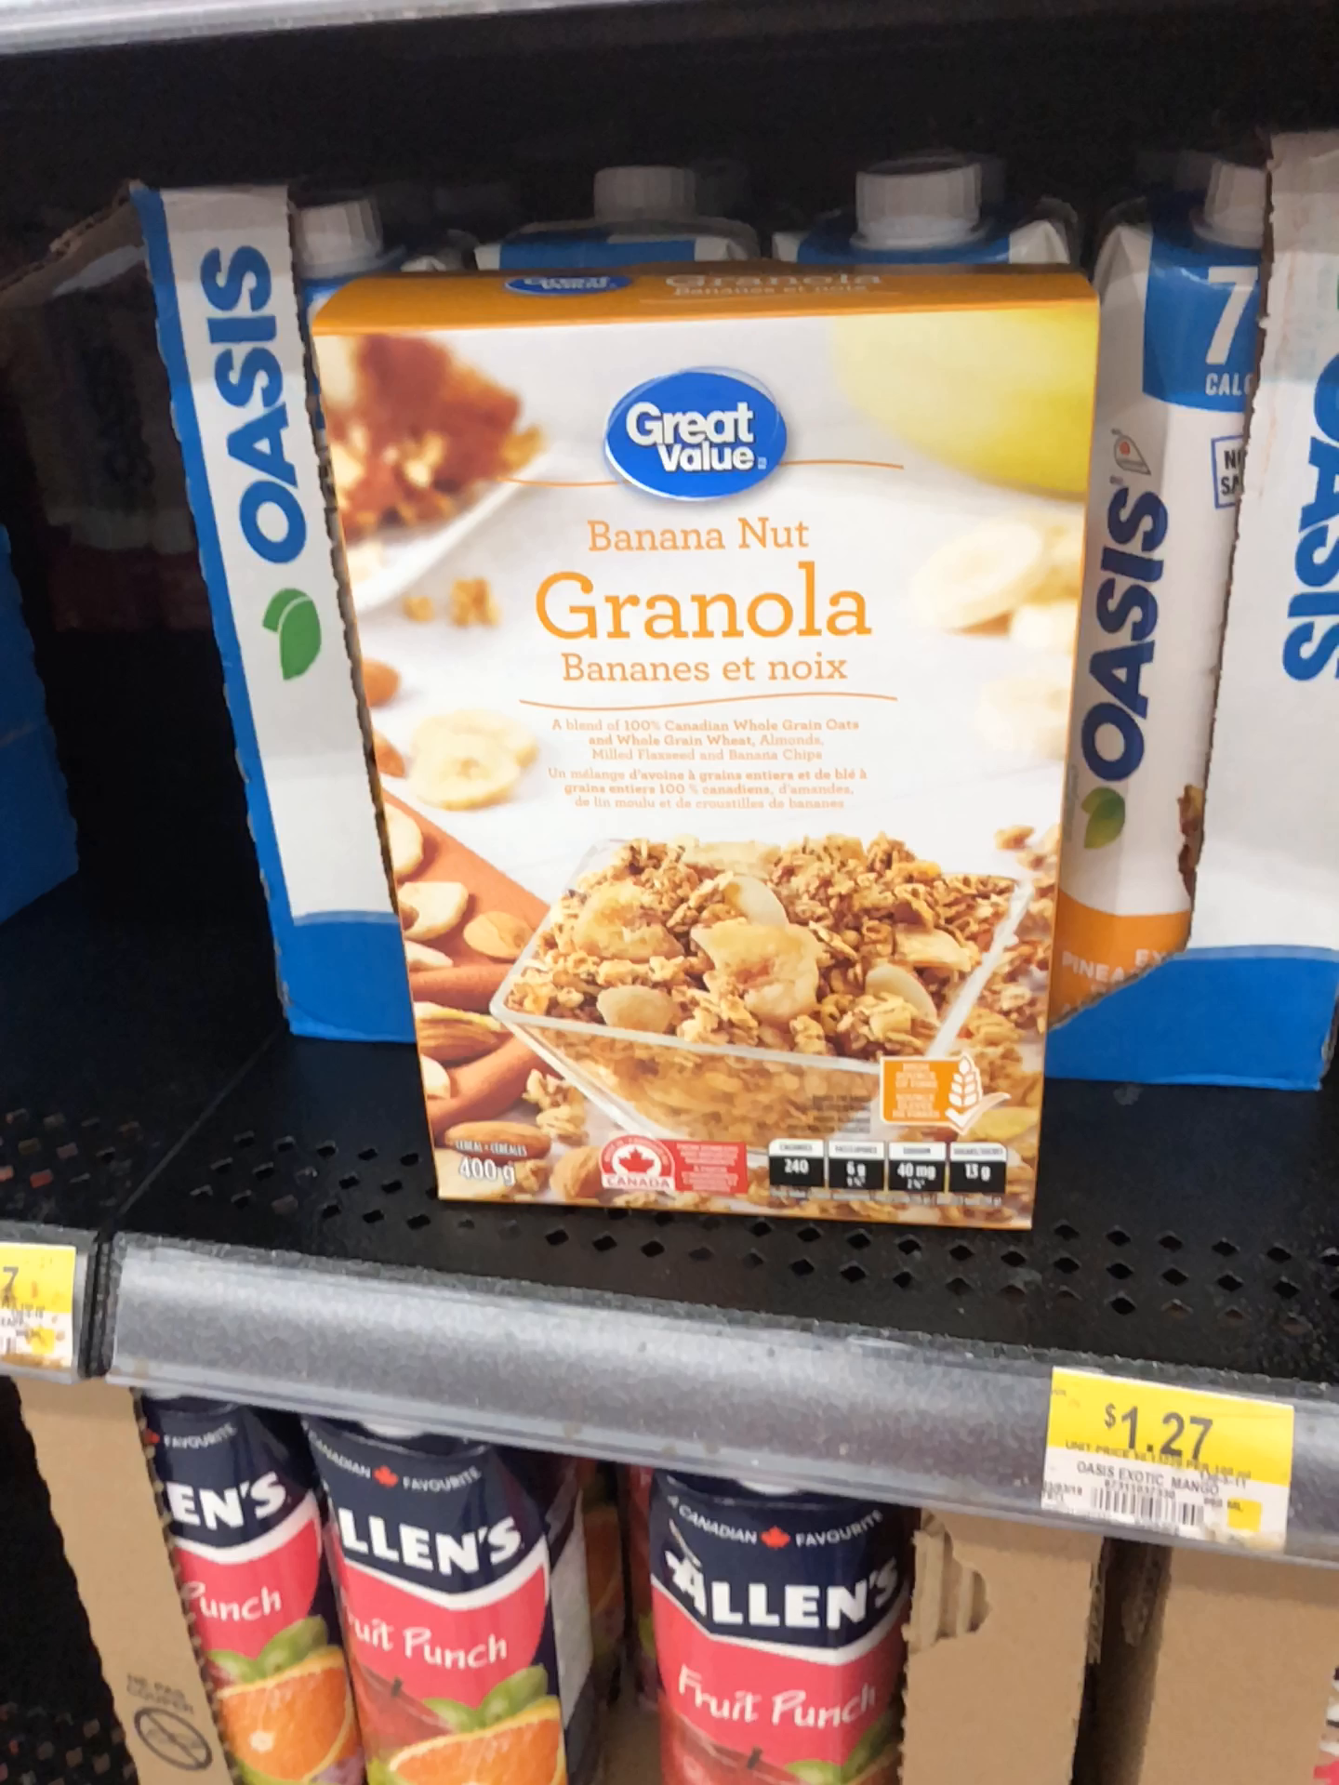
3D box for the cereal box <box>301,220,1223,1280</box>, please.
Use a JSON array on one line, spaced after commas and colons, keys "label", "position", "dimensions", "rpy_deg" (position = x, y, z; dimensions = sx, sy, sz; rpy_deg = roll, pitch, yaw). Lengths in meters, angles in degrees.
[{"label": "cereal box", "position": [0.021, -0.025, 0.333], "dimensions": [0.160, 0.219, 0.060], "rpy_deg": [1, 26, 8]}]
